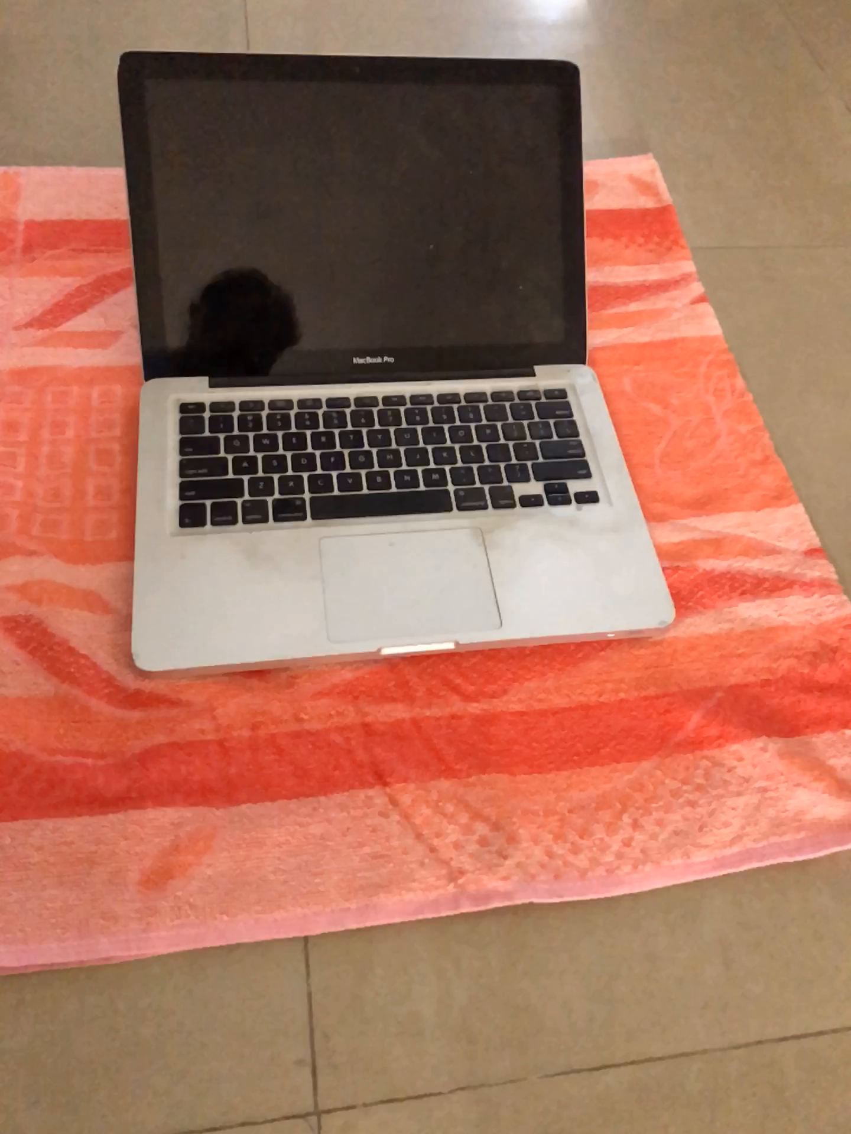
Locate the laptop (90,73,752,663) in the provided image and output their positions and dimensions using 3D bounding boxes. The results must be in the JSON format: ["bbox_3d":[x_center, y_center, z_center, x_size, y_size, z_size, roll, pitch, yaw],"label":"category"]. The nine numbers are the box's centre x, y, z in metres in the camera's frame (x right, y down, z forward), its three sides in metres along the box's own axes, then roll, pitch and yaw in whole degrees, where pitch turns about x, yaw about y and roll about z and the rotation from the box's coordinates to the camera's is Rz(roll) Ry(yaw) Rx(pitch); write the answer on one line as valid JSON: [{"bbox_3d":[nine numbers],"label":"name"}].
[{"bbox_3d":[-0.025,-0.147,0.592,0.309,0.133,0.374,-4,56,-9],"label":"laptop"}]
